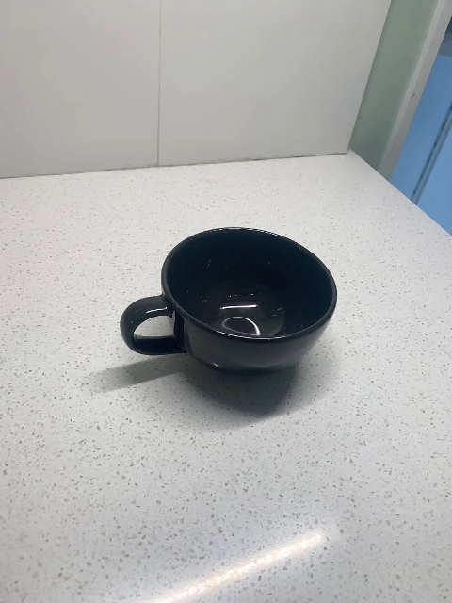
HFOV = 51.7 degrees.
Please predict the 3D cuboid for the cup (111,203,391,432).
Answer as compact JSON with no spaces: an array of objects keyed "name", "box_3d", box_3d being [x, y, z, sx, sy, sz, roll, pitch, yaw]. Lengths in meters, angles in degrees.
[{"name":"cup","box_3d":[0.007,0.001,0.288,0.130,0.060,0.110,-10,46,-20]}]
